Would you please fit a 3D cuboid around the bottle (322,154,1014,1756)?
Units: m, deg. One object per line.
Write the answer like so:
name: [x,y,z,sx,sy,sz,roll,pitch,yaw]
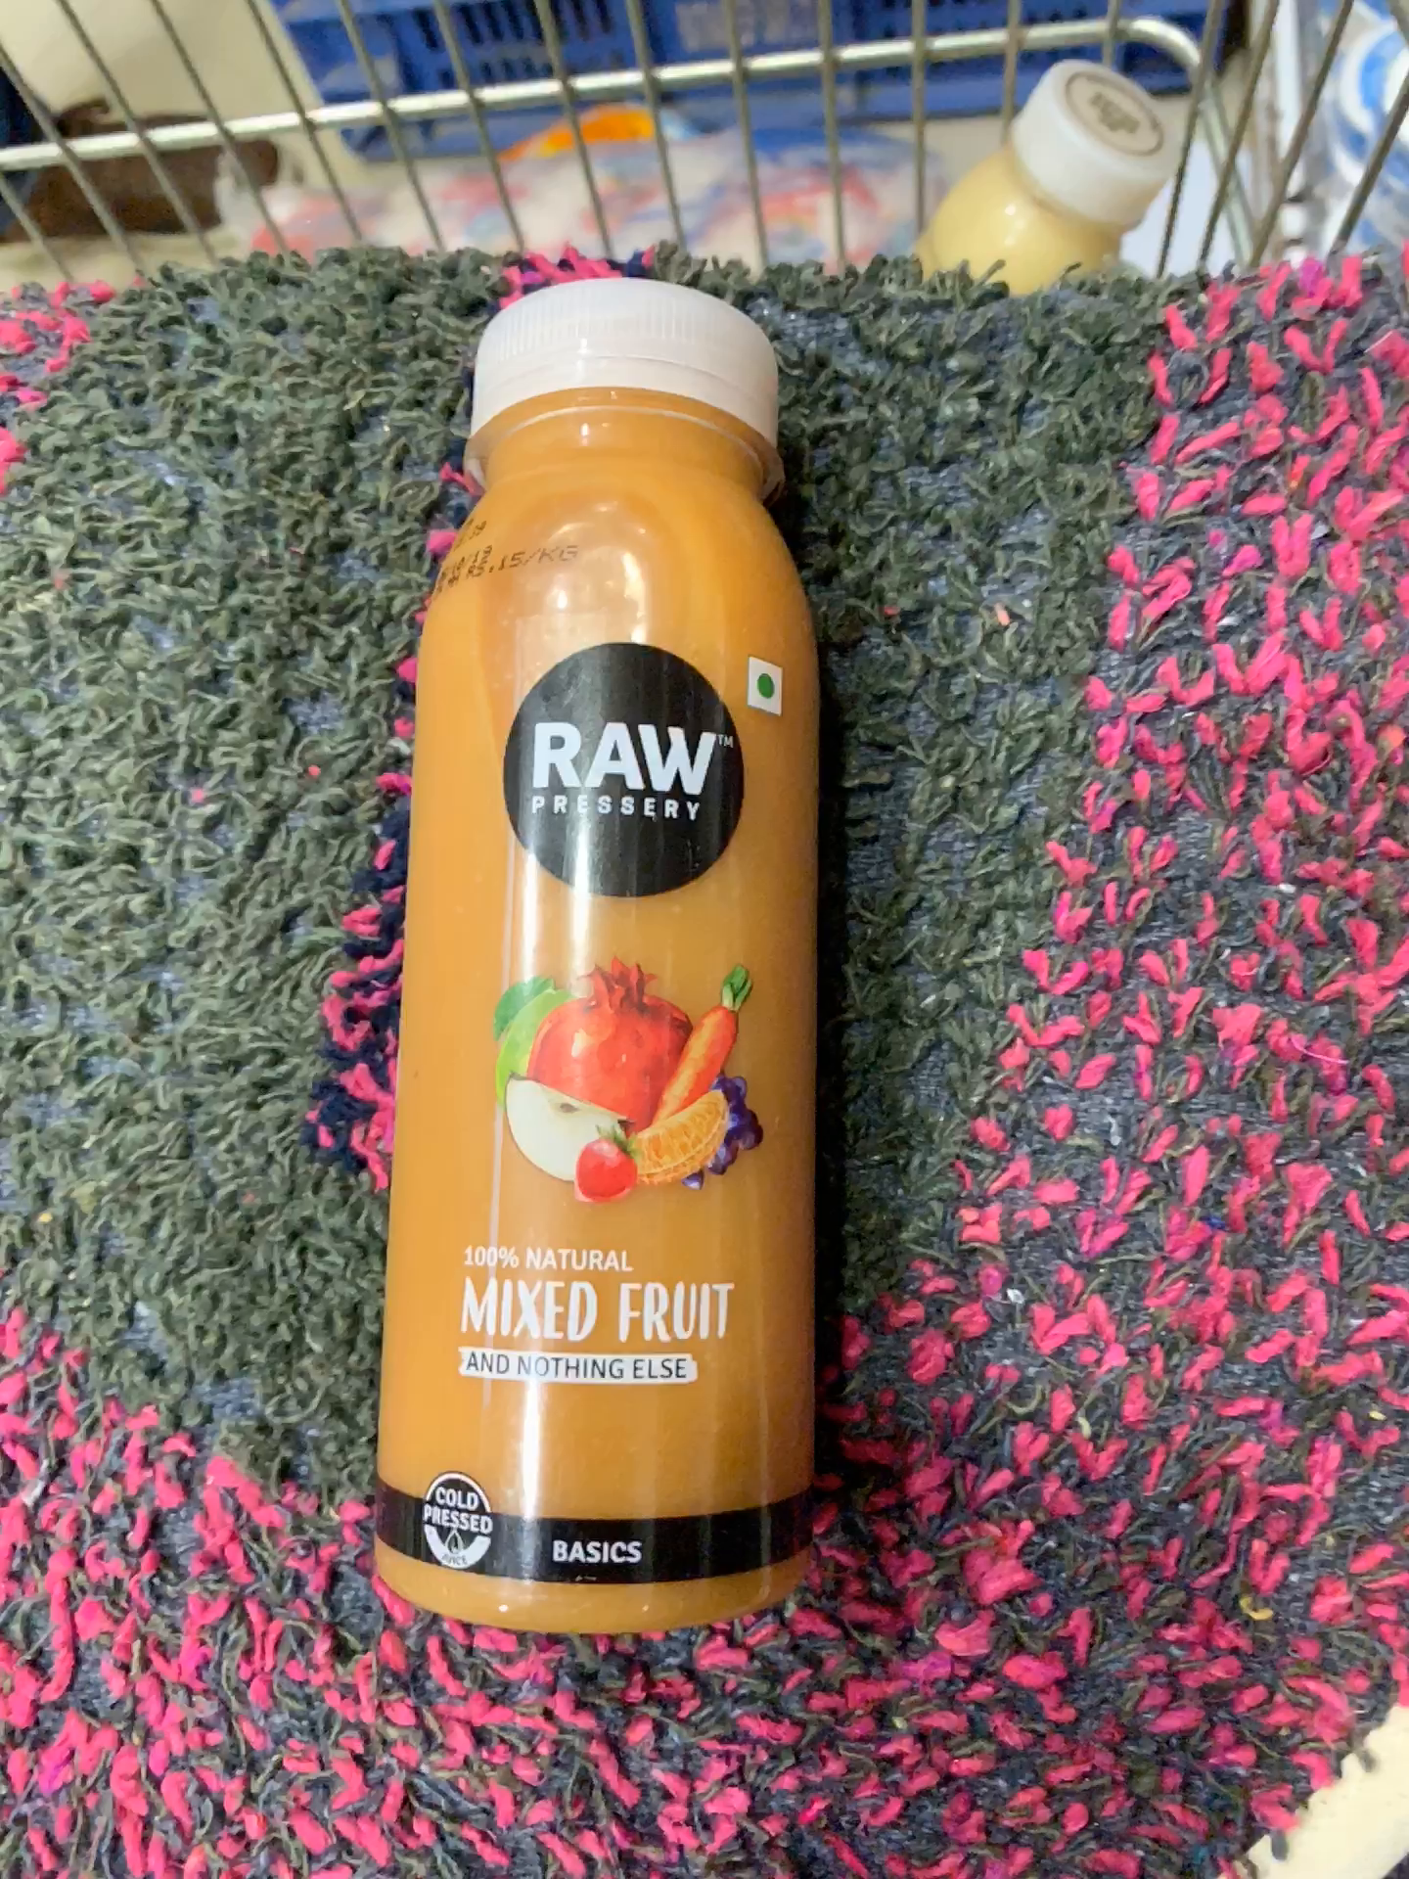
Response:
bottle: [-0.005,0.001,0.170,0.060,0.060,0.150,4,80,-9]
